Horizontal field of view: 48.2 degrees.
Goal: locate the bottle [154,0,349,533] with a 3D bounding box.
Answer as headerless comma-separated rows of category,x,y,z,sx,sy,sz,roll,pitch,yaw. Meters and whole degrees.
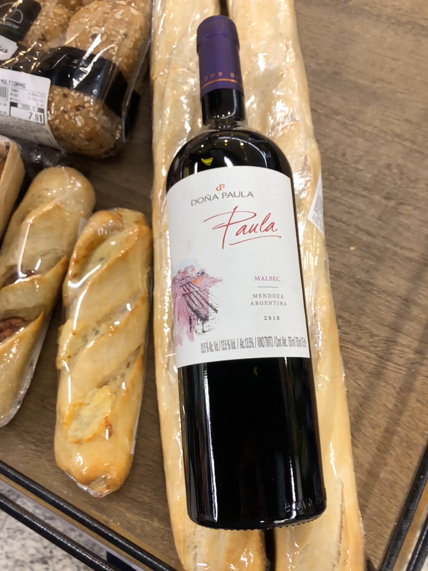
bottle,0.014,-0.034,0.271,0.070,0.060,0.300,-6,74,6
